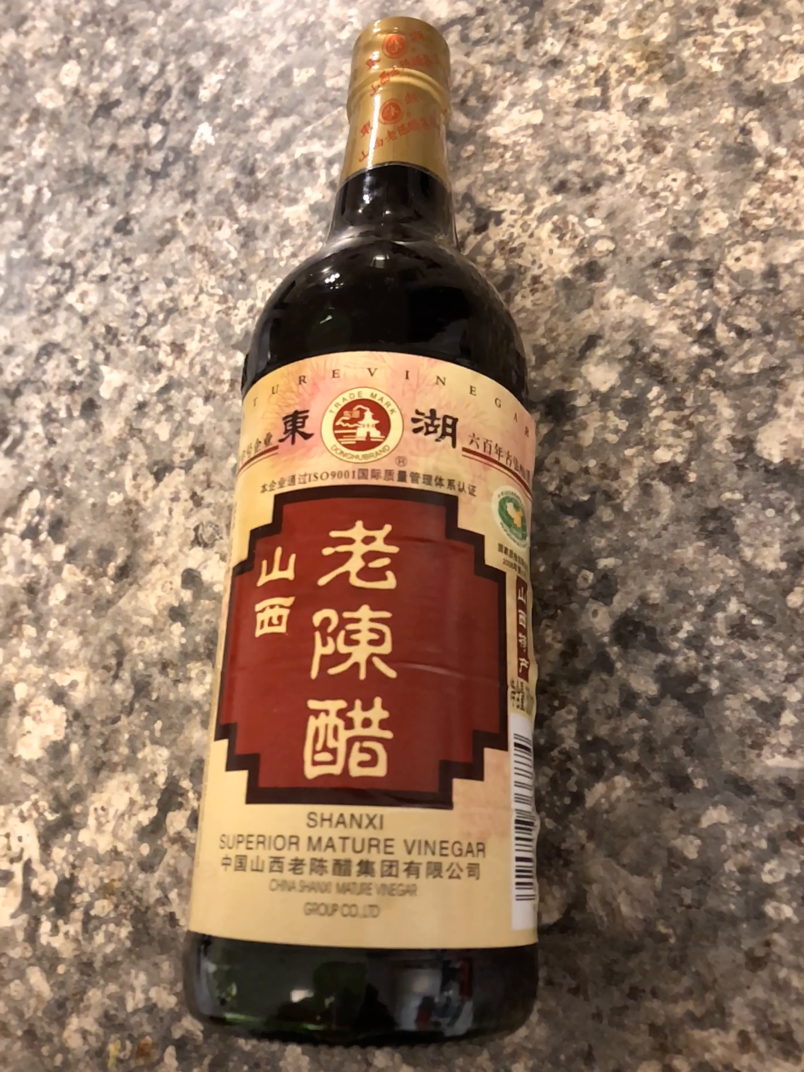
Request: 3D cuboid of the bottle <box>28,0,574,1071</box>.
[{"bbox_3d":[-0.005,-0.025,0.193,0.070,0.070,0.241,-4,69,17],"label":"bottle"}]
